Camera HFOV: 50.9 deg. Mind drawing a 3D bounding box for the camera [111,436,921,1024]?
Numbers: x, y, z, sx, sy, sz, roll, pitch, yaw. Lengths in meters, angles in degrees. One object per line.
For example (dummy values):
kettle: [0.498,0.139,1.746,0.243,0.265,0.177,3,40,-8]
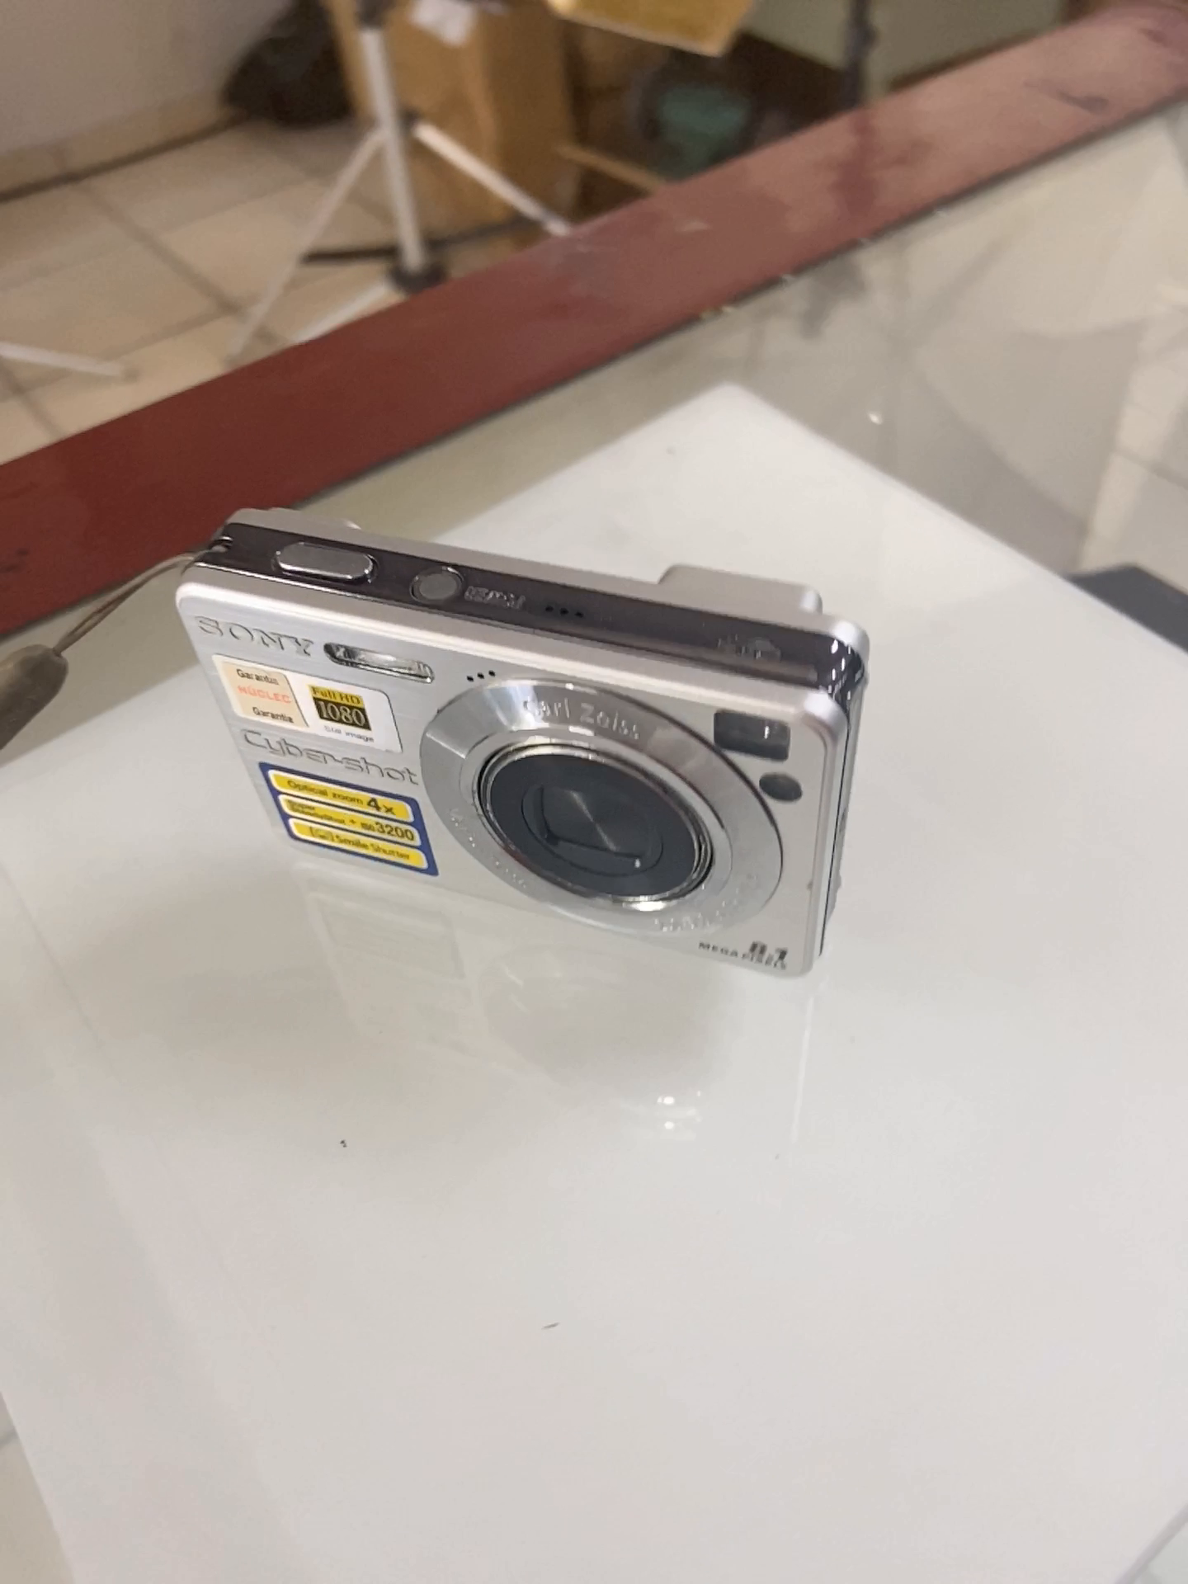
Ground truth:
camera: [-0.008,-0.008,0.168,0.090,0.060,0.030,12,51,15]
